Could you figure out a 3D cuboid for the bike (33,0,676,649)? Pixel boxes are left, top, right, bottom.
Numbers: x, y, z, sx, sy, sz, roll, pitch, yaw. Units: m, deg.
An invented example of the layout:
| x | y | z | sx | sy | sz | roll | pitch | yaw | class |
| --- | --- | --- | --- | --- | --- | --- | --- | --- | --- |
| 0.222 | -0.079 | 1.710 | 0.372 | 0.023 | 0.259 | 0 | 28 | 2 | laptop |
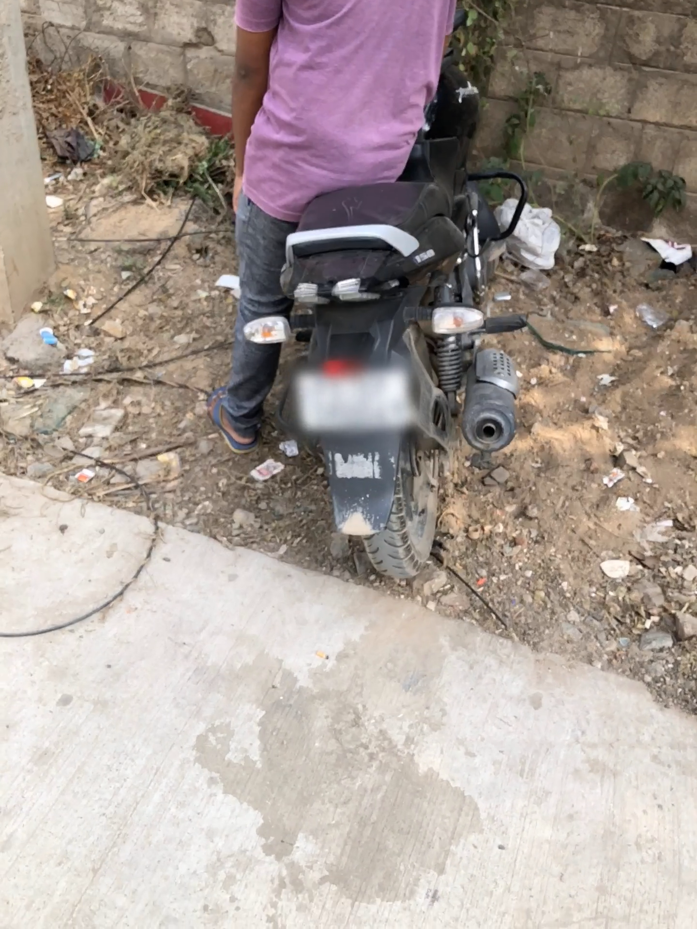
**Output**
| x | y | z | sx | sy | sz | roll | pitch | yaw | class |
| --- | --- | --- | --- | --- | --- | --- | --- | --- | --- |
| -0.009 | -0.725 | 2.020 | 0.813 | 1.215 | 1.824 | 4 | 41 | 0 | bike |
